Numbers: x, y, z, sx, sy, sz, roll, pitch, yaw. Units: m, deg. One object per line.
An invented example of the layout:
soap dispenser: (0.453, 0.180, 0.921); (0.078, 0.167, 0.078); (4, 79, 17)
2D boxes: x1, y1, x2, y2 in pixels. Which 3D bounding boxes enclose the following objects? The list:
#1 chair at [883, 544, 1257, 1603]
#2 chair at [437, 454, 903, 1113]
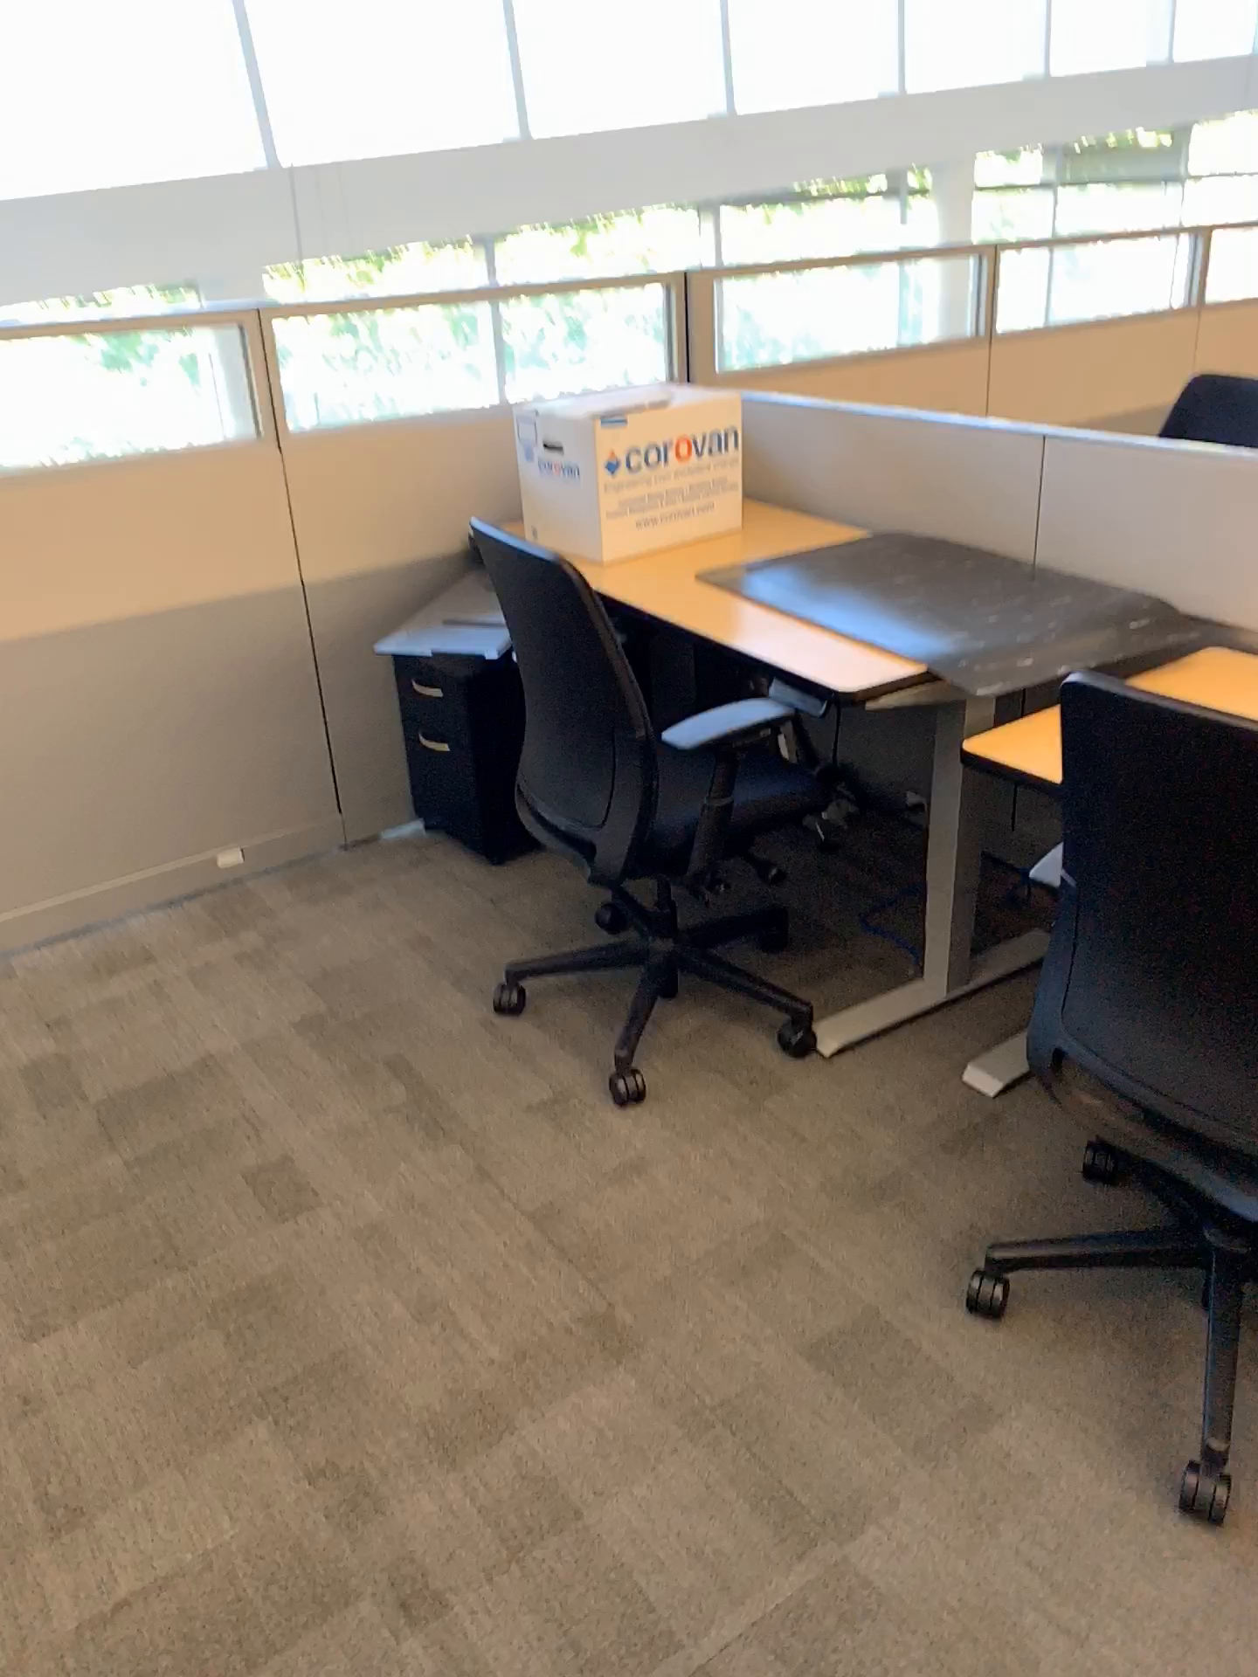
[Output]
chair: (0.724, 0.235, 1.559); (0.581, 0.994, 0.522); (-20, 31, -31)
chair: (0.074, -0.137, 2.418); (0.600, 0.994, 0.563); (-15, 29, -24)
